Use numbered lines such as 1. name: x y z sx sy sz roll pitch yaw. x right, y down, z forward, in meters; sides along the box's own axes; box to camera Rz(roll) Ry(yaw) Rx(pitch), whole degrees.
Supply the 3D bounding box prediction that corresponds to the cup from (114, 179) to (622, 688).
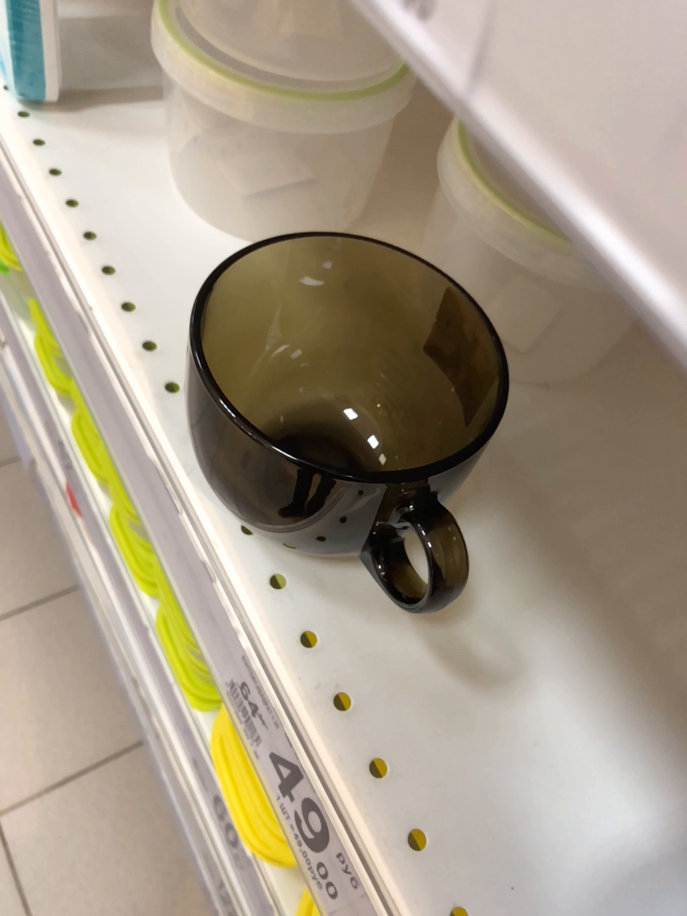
1. cup: 0.000 -0.015 0.268 0.105 0.071 0.136 -23 64 -24
